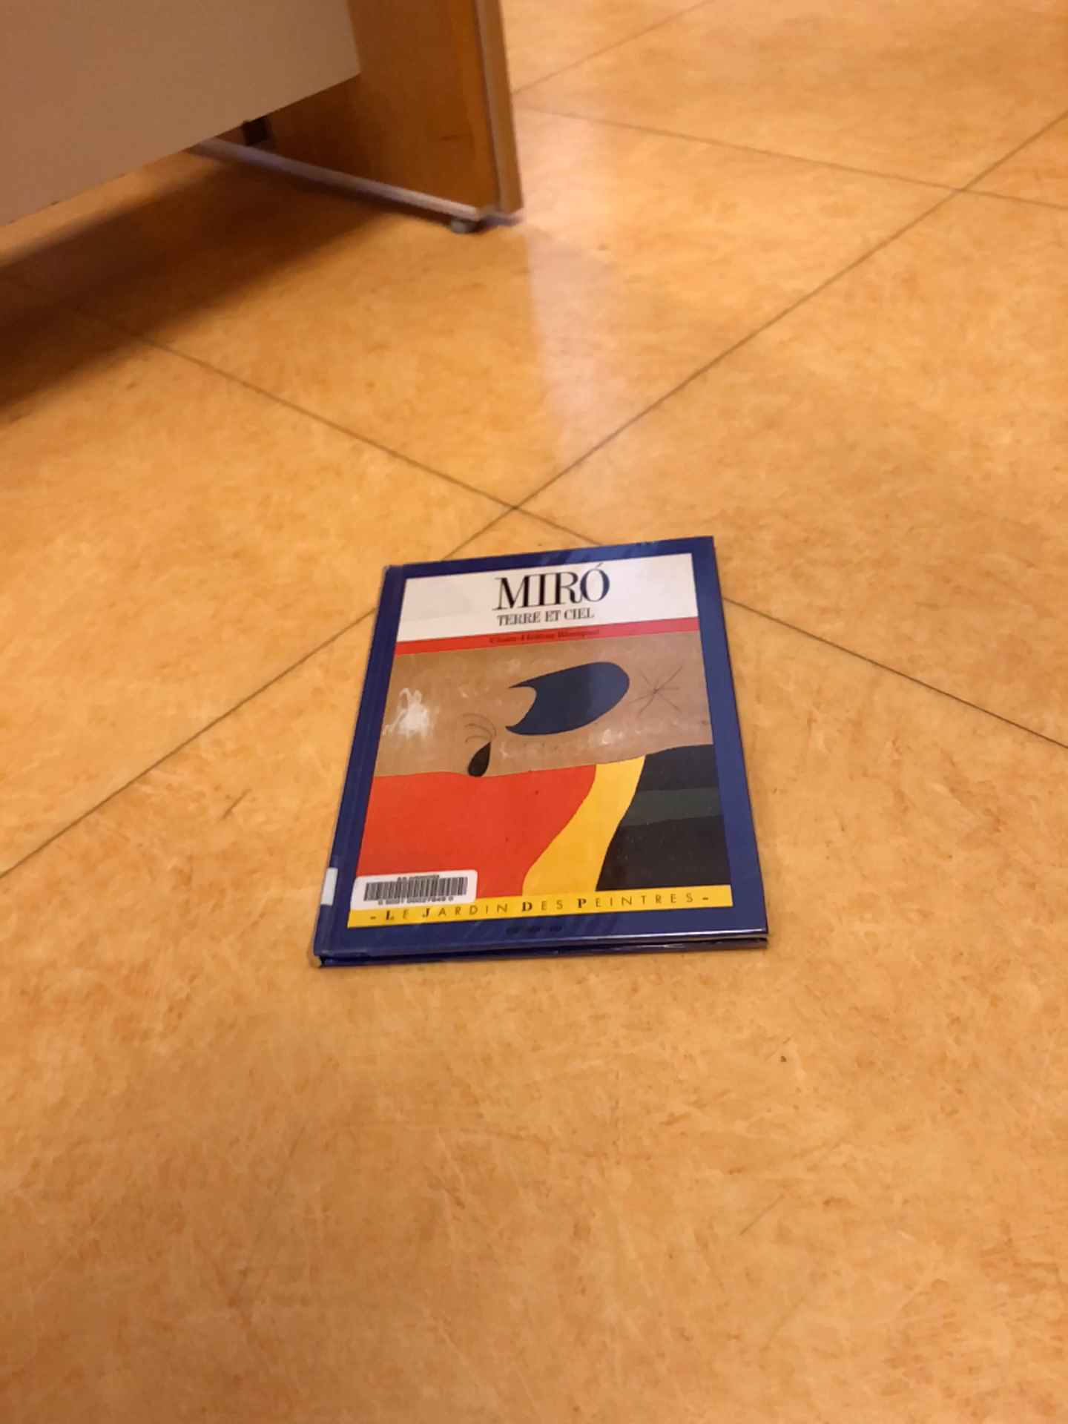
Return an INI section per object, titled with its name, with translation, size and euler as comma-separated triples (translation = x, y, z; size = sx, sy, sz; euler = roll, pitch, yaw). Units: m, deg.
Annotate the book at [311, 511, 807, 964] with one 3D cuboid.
[book]
translation = 0.012, -0.003, 0.514
size = 0.177, 0.020, 0.246
euler = -4, 43, 6
